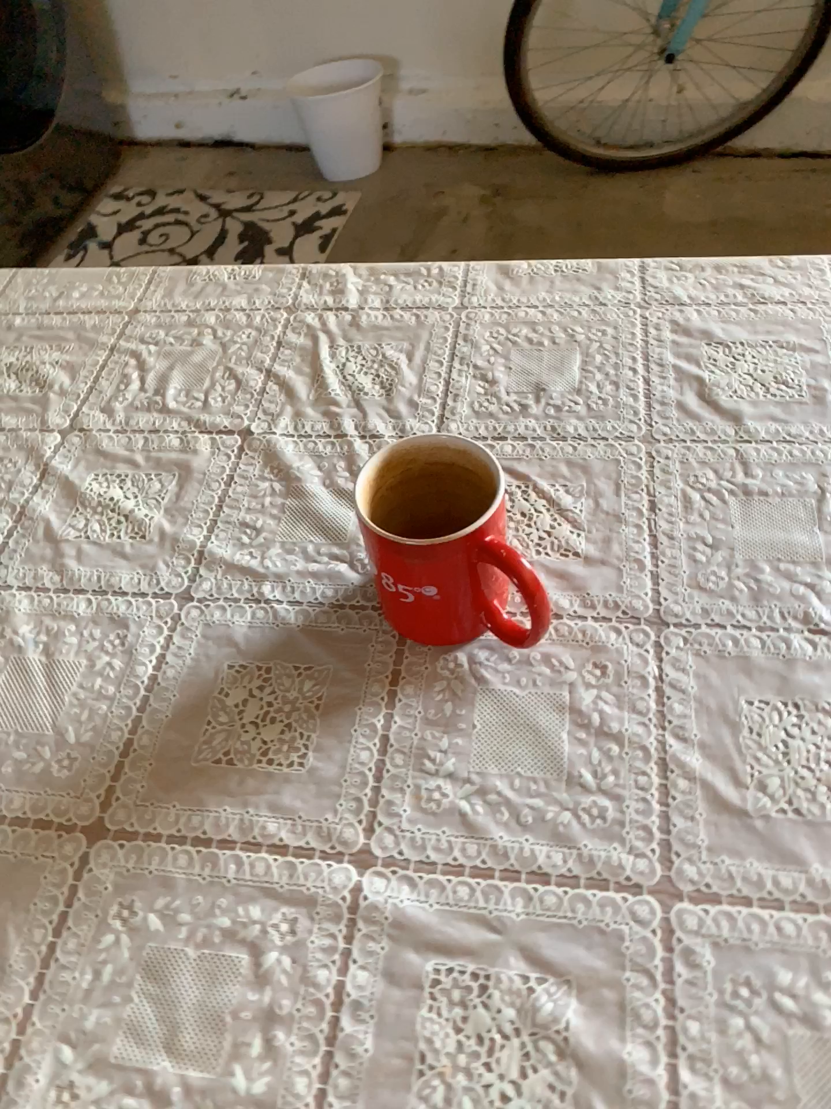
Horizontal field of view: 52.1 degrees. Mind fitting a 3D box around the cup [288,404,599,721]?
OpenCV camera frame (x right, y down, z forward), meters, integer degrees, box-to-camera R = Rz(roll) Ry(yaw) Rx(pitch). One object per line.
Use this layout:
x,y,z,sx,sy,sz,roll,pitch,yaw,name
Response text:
0.017,0.002,0.464,0.131,0.090,0.090,31,62,29,cup
